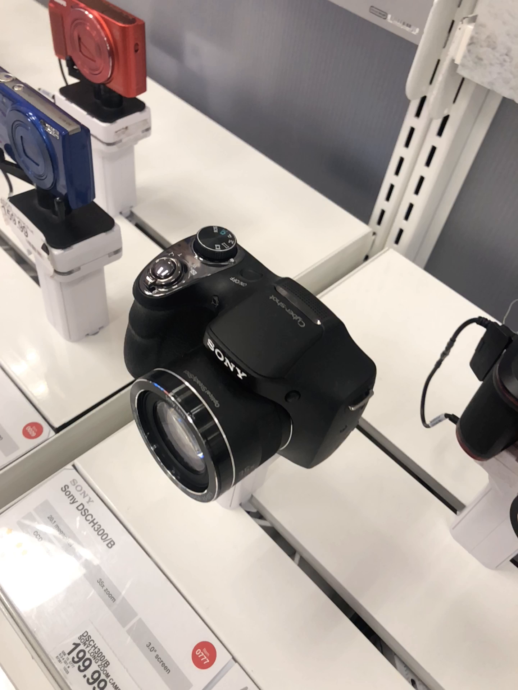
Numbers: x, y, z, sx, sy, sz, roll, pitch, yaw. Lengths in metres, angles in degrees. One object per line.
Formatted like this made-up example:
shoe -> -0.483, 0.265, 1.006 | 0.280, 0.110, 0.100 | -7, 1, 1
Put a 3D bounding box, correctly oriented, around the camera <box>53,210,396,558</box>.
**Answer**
camera -> -0.019, 0.013, 0.271 | 0.119, 0.076, 0.087 | 40, 55, 22
